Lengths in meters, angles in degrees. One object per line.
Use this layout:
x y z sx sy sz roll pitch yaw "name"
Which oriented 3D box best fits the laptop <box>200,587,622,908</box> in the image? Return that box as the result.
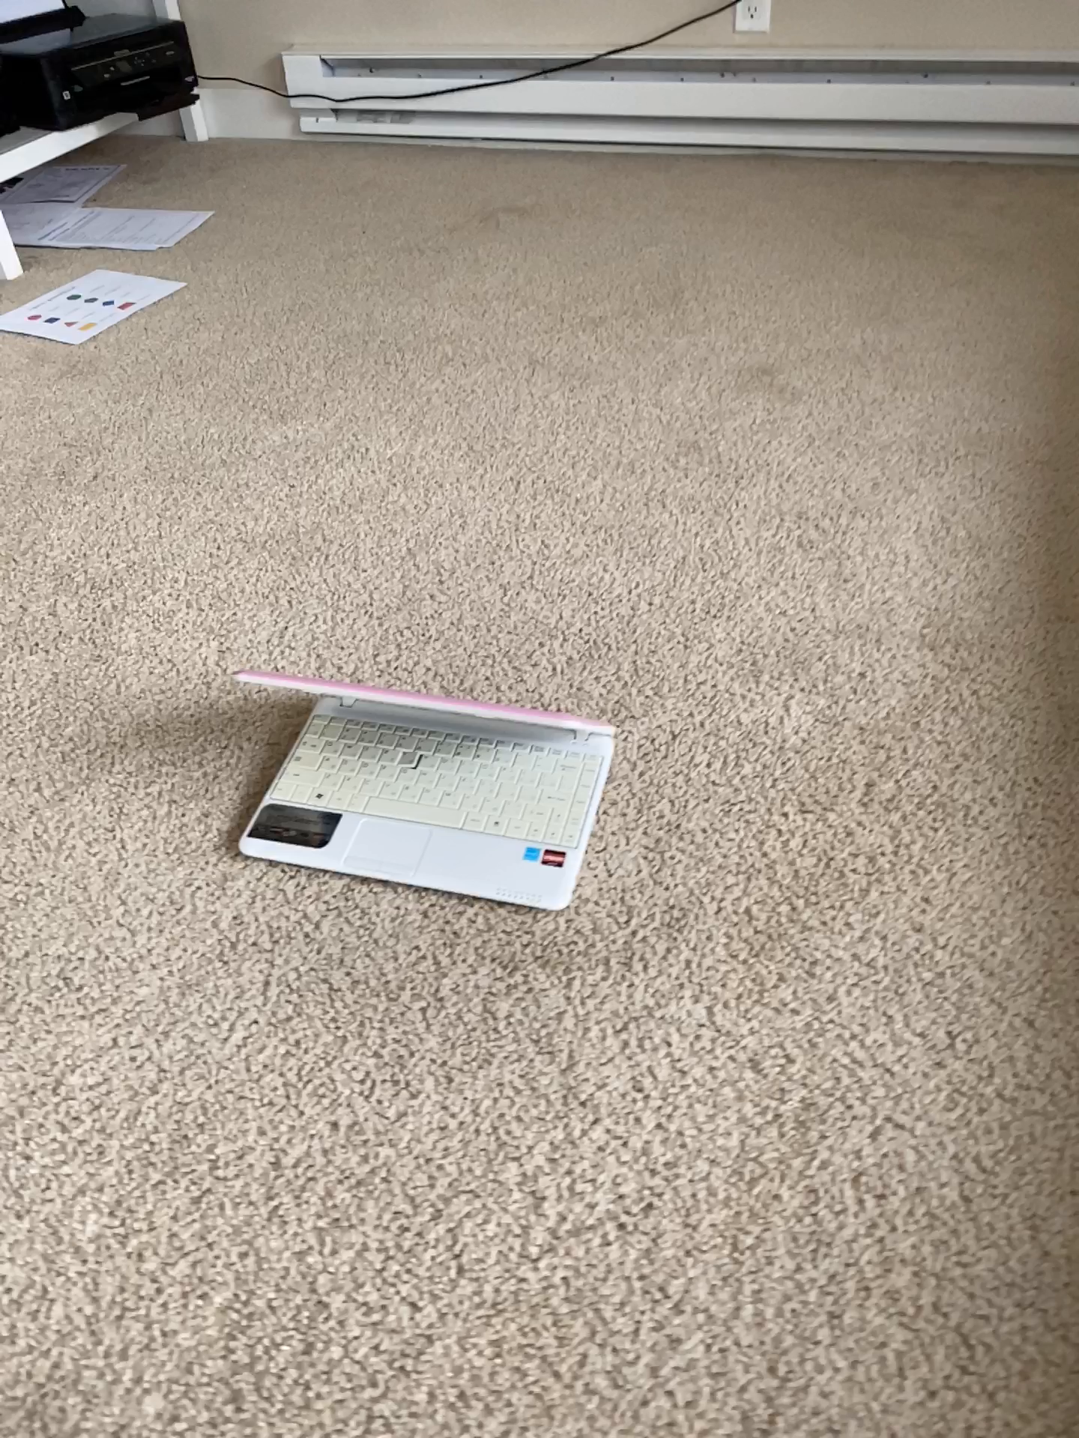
-0.096 0.015 0.927 0.297 0.122 0.198 7 46 15 "laptop"
